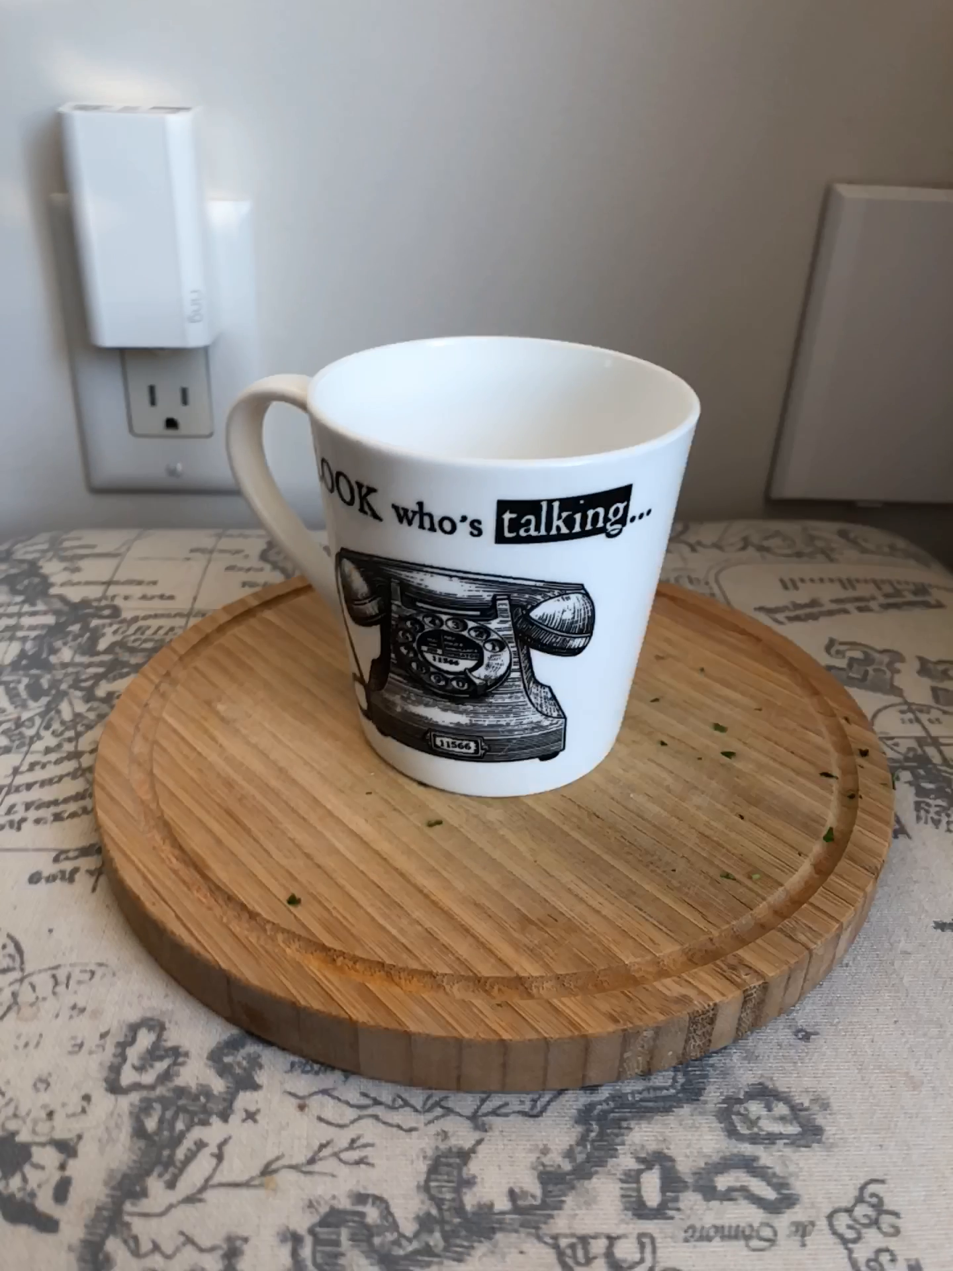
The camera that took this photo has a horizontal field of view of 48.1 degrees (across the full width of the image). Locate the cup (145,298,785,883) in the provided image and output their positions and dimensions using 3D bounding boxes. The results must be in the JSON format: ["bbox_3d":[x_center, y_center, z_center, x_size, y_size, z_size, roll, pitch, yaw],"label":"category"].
[{"bbox_3d":[-0.003,-0.022,0.260,0.111,0.086,0.091,23,35,30],"label":"cup"}]
